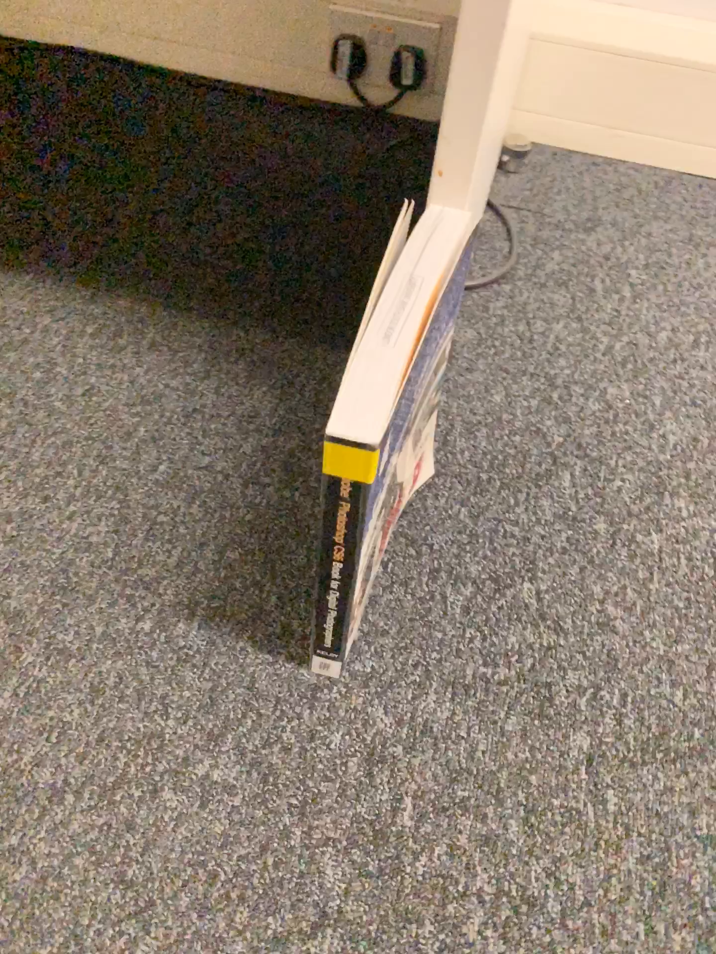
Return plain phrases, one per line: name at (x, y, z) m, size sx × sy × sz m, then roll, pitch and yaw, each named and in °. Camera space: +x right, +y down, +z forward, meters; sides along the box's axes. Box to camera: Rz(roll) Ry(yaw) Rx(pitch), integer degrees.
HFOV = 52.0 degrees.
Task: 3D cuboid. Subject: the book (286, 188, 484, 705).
book at (0.012, -0.007, 0.488) m, size 0.051 × 0.275 × 0.213 m, roll 15°, pitch 51°, yaw 6°
